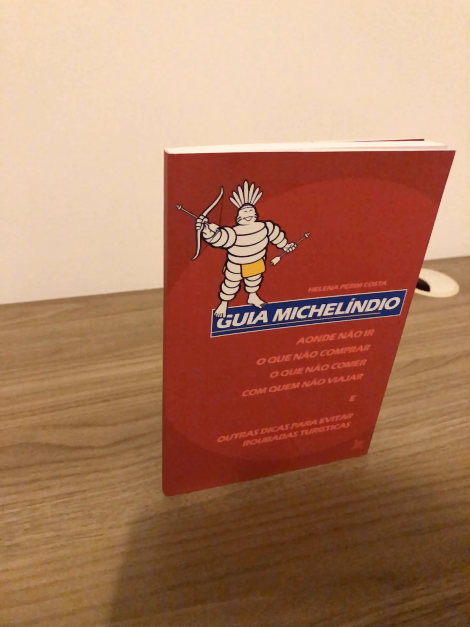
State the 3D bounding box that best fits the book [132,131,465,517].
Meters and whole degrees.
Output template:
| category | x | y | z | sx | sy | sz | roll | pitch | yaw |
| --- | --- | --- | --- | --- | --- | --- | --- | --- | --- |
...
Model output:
| category | x | y | z | sx | sy | sz | roll | pitch | yaw |
| --- | --- | --- | --- | --- | --- | --- | --- | --- | --- |
| book | 0.024 | 0.016 | 0.284 | 0.150 | 0.218 | 0.020 | -7 | 35 | -18 |
